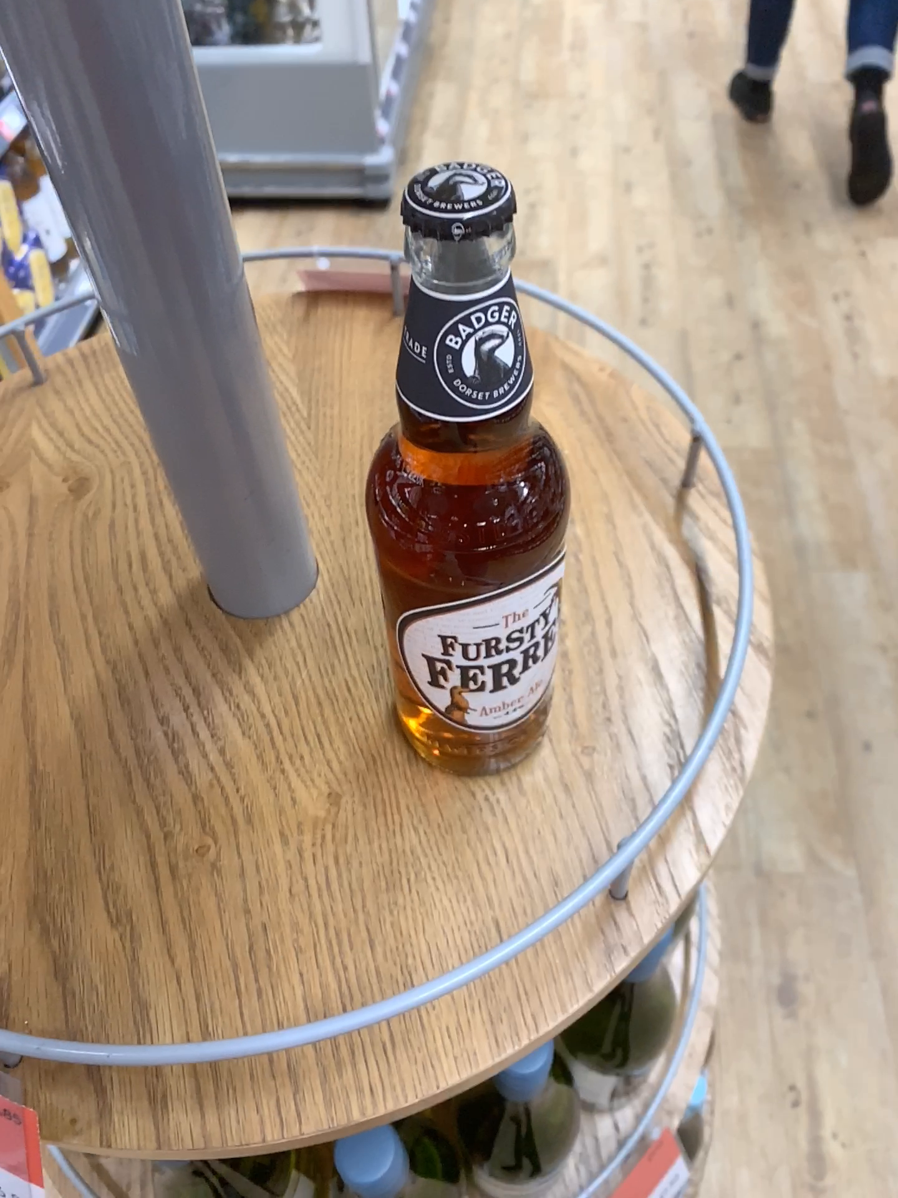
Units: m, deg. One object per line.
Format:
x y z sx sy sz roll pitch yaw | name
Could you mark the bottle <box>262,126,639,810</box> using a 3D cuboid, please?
0.002 -0.024 0.322 0.069 0.231 0.076 -22 54 -14 | bottle
